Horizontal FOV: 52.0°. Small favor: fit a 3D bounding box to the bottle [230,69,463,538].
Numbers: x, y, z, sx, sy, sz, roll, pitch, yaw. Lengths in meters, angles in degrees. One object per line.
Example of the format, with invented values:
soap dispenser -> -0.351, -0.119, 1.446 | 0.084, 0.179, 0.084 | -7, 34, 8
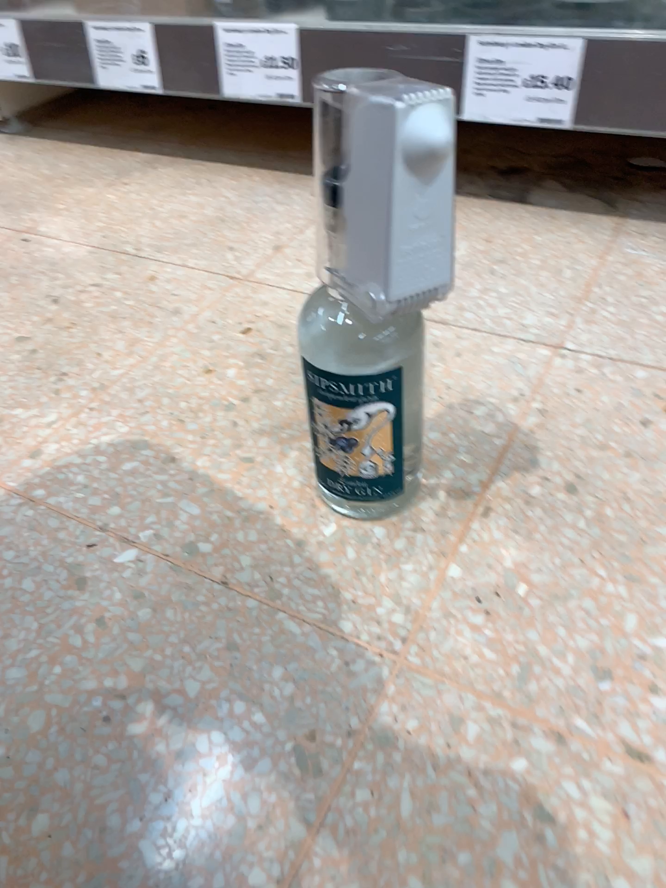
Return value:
bottle -> 0.015, -0.060, 0.352 | 0.074, 0.222, 0.069 | -3, 41, 3
